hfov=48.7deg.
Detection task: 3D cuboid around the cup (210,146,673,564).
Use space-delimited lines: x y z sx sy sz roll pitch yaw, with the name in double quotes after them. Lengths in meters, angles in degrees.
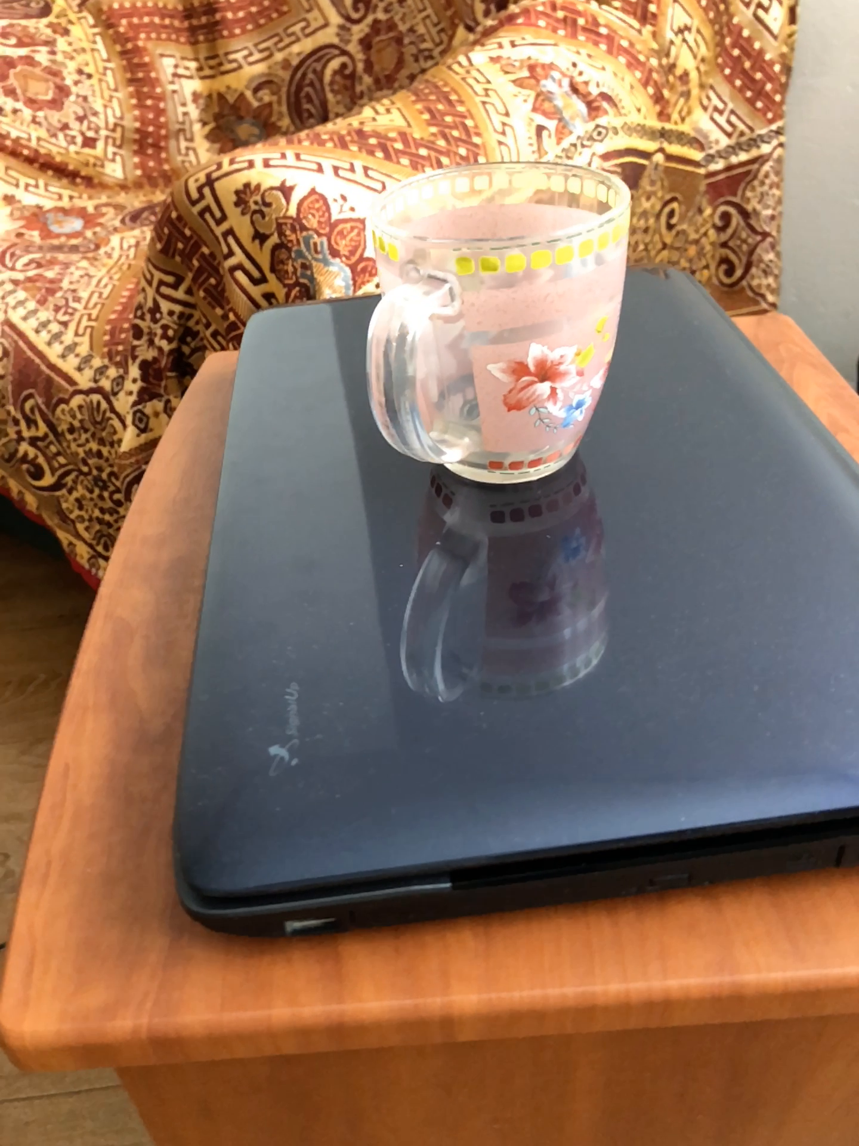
0.012 -0.083 0.324 0.095 0.081 0.131 17 42 25 "cup"
